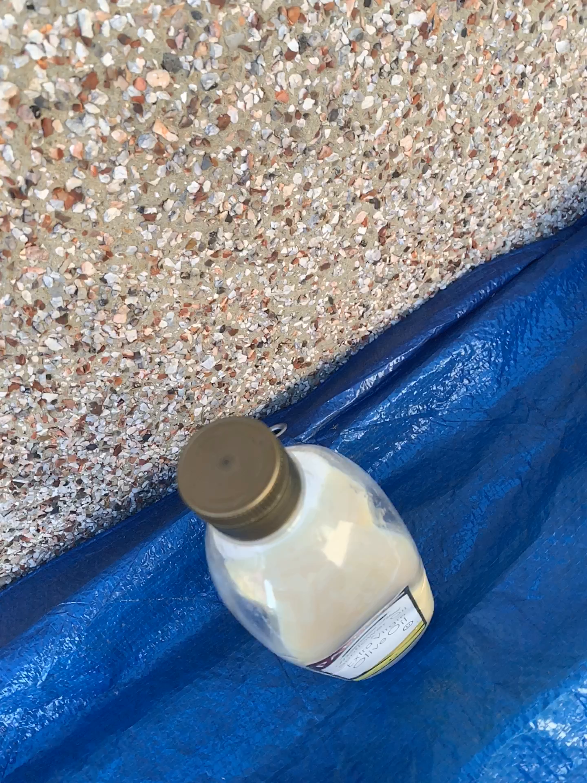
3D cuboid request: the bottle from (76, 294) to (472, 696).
[{"bbox_3d":[0.019,0.072,0.267,0.080,0.239,0.080,-7,62,14],"label":"bottle"}]
